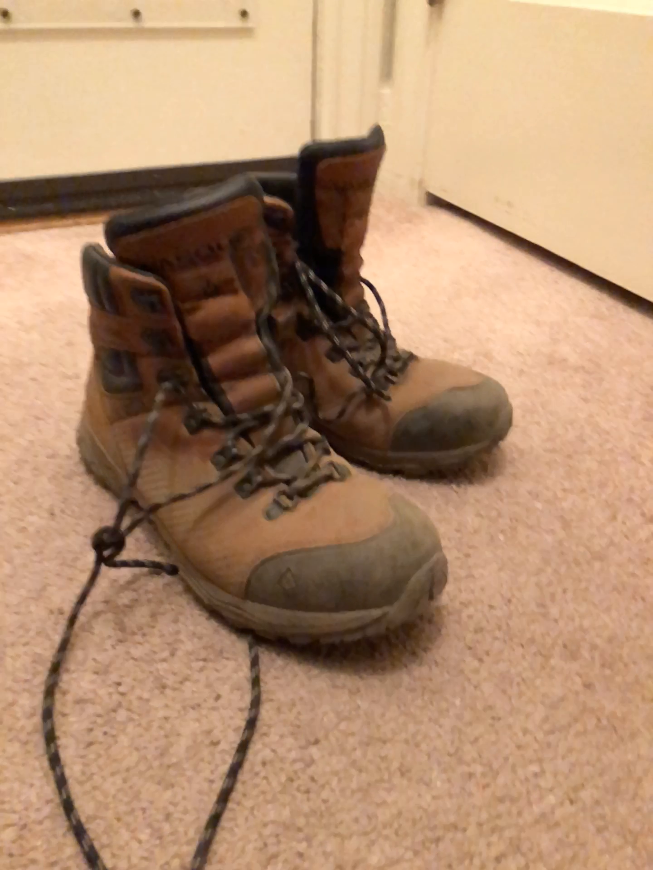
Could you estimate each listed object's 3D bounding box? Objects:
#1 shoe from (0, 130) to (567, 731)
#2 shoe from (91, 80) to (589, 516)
[{"bbox_3d":[-0.054,-0.030,0.417,0.311,0.219,0.121,28,41,33],"label":"shoe"},{"bbox_3d":[-0.003,-0.117,0.534,0.311,0.229,0.121,20,37,25],"label":"shoe"}]
